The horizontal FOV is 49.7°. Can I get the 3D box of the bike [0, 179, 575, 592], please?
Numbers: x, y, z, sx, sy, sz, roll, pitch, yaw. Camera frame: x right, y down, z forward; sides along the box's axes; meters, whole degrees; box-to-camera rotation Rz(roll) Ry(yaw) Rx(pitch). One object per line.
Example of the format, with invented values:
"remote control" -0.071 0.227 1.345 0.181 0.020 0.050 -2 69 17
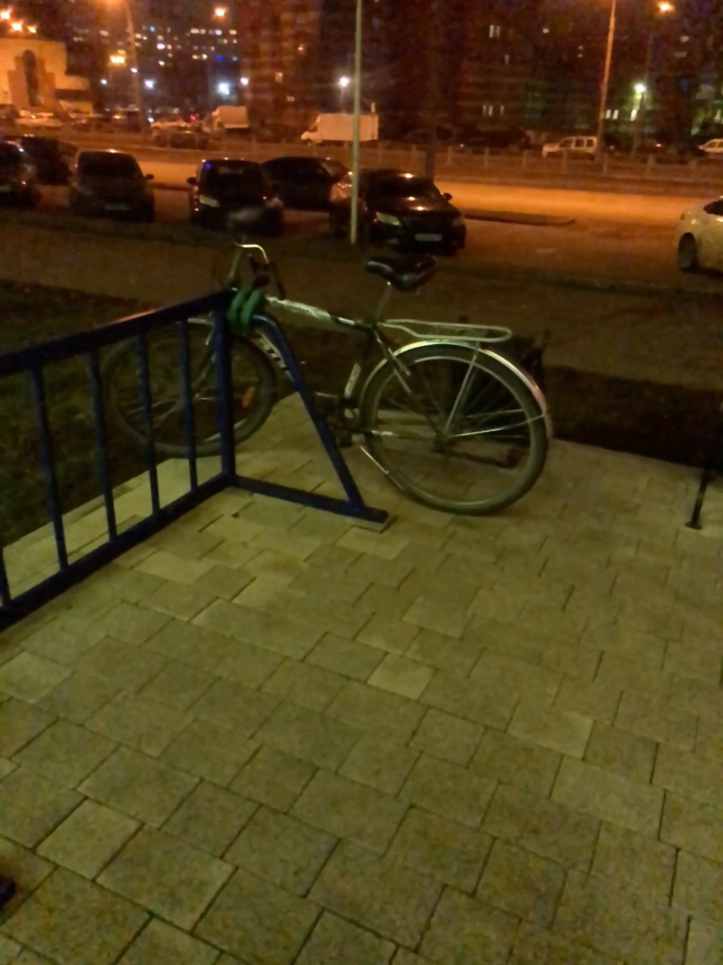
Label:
"bike" -0.219 -0.413 2.832 1.717 1.046 0.683 11 26 12
